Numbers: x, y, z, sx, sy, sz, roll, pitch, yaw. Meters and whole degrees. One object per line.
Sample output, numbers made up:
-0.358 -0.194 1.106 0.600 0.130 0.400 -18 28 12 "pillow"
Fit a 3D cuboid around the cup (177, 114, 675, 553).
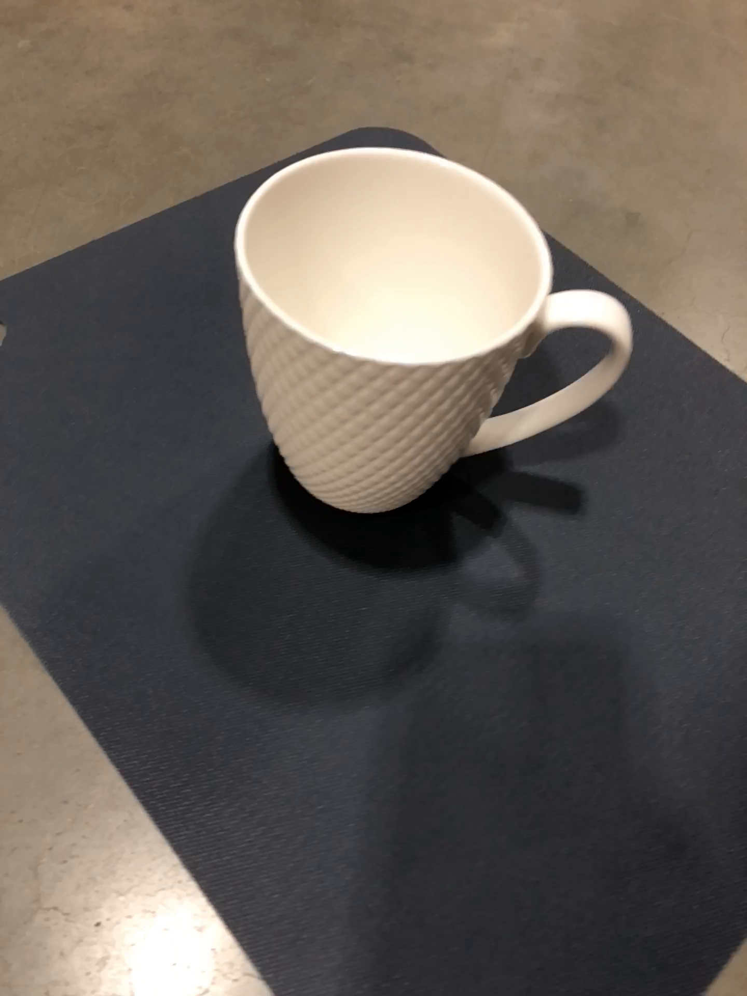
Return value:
0.015 -0.052 0.277 0.130 0.090 0.090 8 56 -1 "cup"
